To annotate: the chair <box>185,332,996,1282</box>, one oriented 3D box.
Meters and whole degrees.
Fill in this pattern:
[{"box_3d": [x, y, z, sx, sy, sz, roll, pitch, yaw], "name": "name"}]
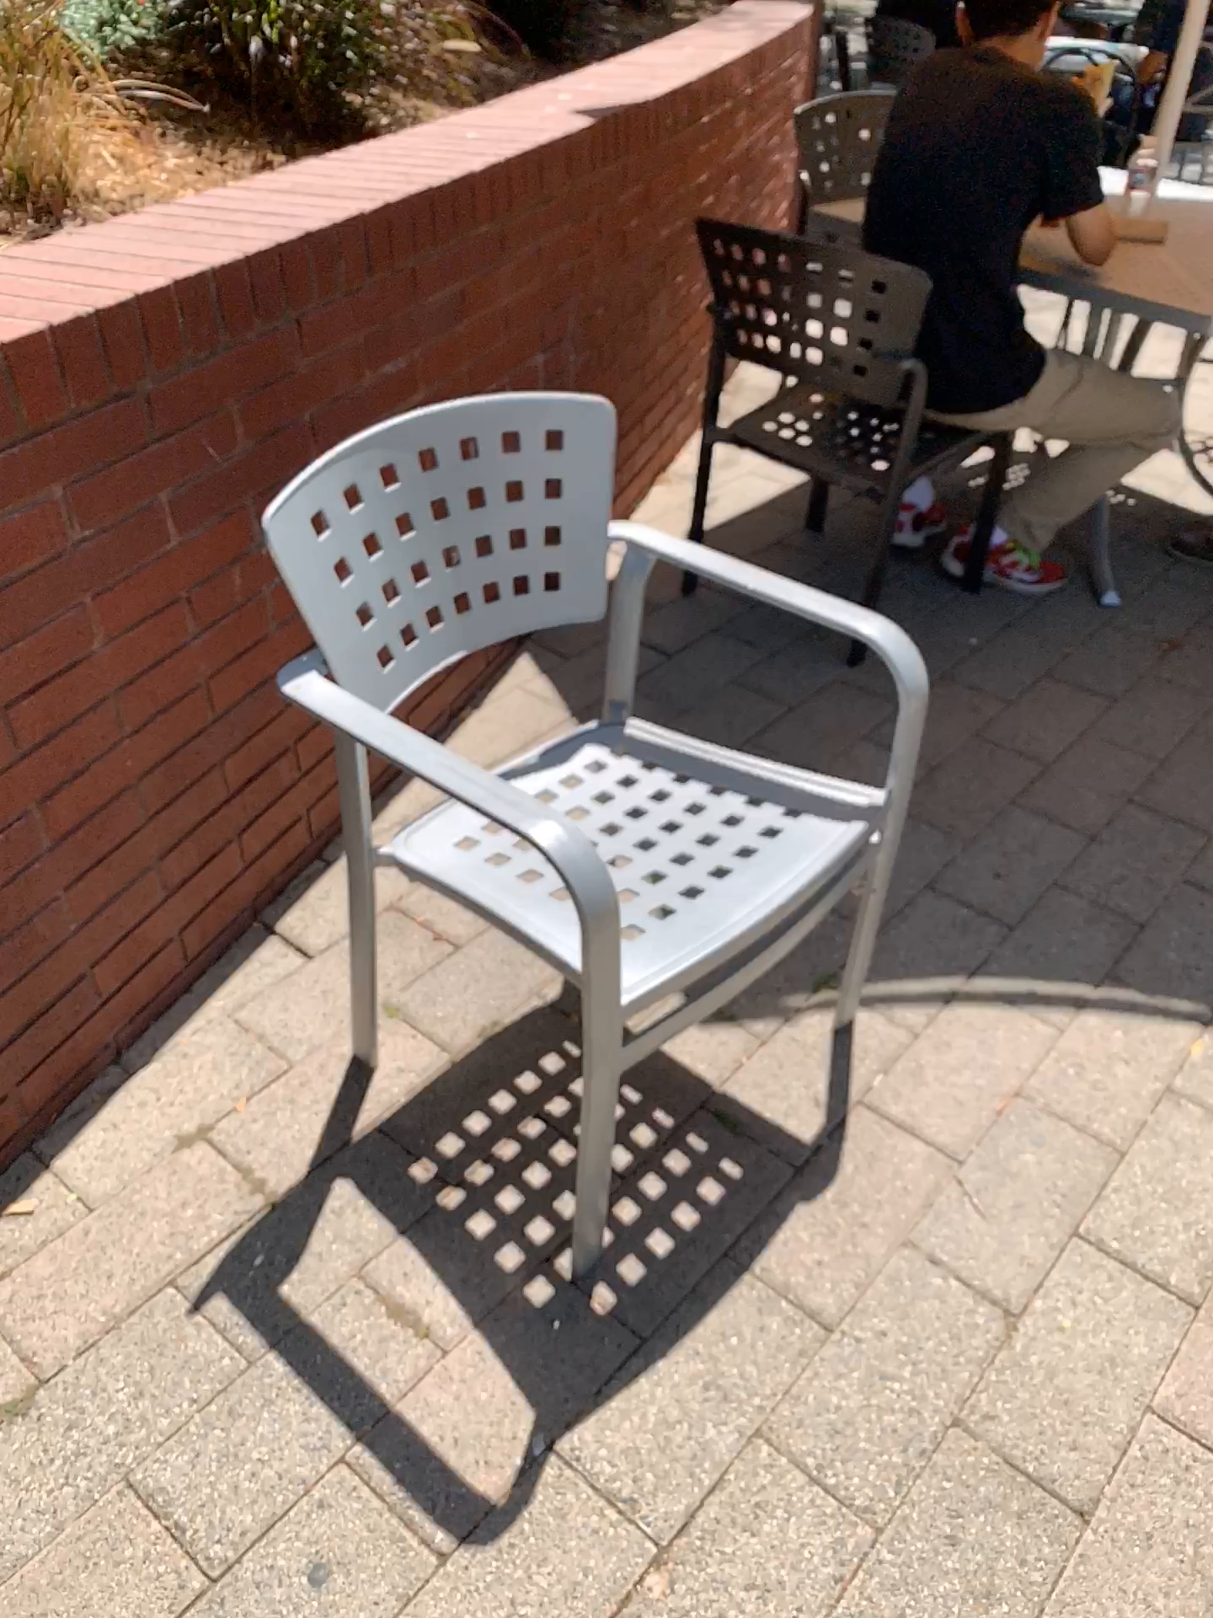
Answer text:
[{"box_3d": [-0.005, -0.036, 1.363, 0.493, 0.719, 0.557, 27, 43, 31], "name": "chair"}]
